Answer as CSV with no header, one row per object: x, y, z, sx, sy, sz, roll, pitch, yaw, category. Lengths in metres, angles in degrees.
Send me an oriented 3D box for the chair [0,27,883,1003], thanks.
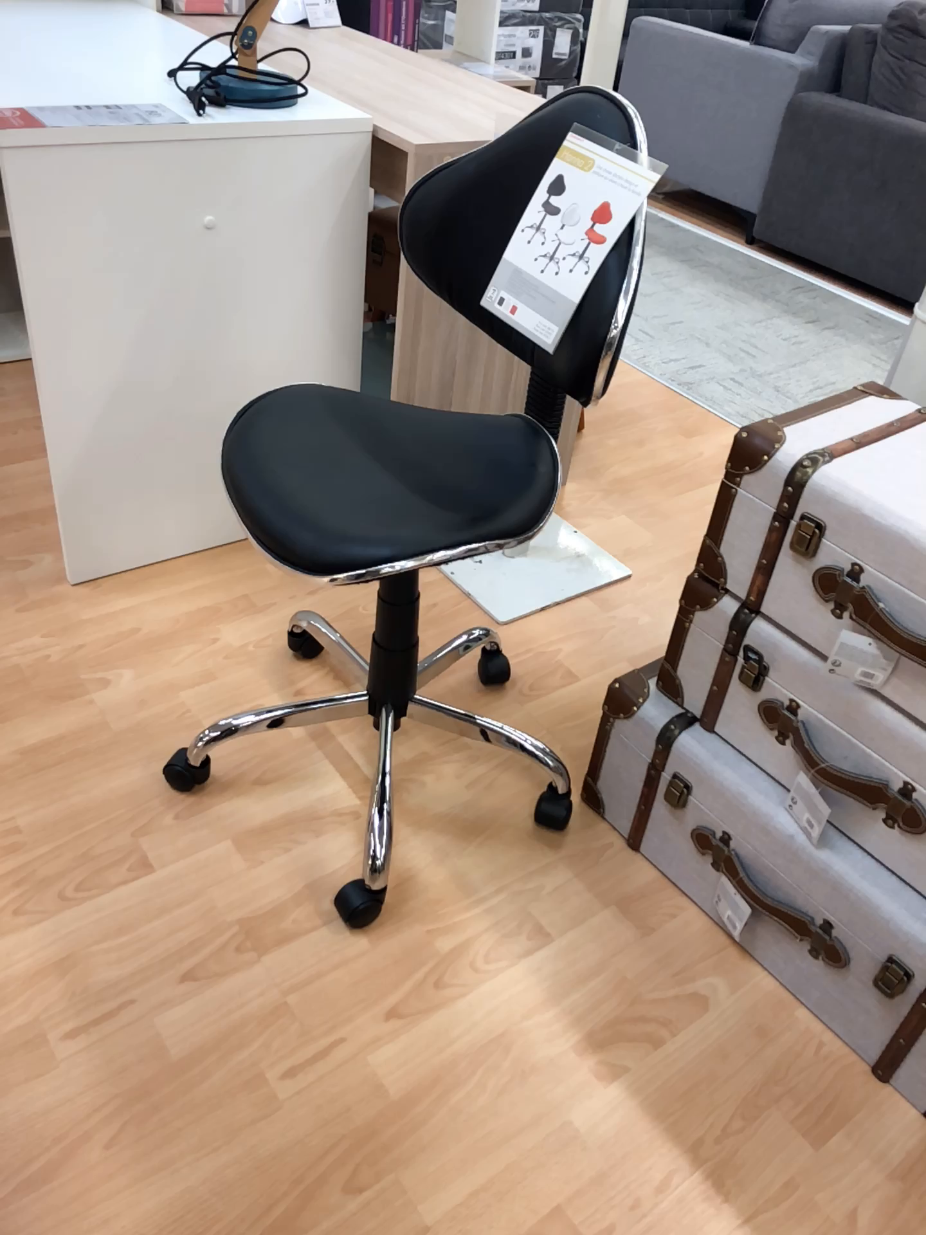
-0.069,-0.163,1.217,0.613,0.854,0.601,-23,47,-35,chair
